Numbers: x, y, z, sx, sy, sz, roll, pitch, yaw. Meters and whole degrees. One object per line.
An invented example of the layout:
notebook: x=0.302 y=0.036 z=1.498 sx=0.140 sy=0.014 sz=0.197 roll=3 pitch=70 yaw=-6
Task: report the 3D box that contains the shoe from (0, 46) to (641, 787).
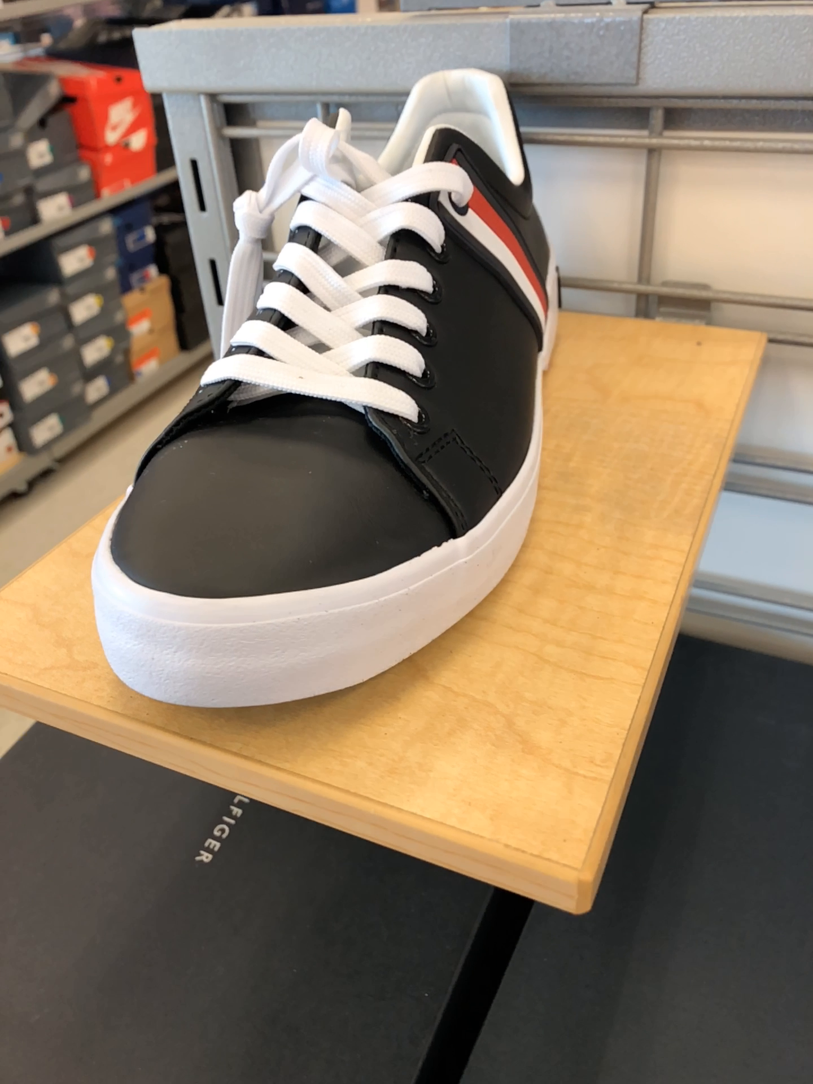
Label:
shoe: x=0.002 y=-0.079 z=0.273 sx=0.100 sy=0.089 sz=0.292 roll=8 pitch=36 yaw=15
